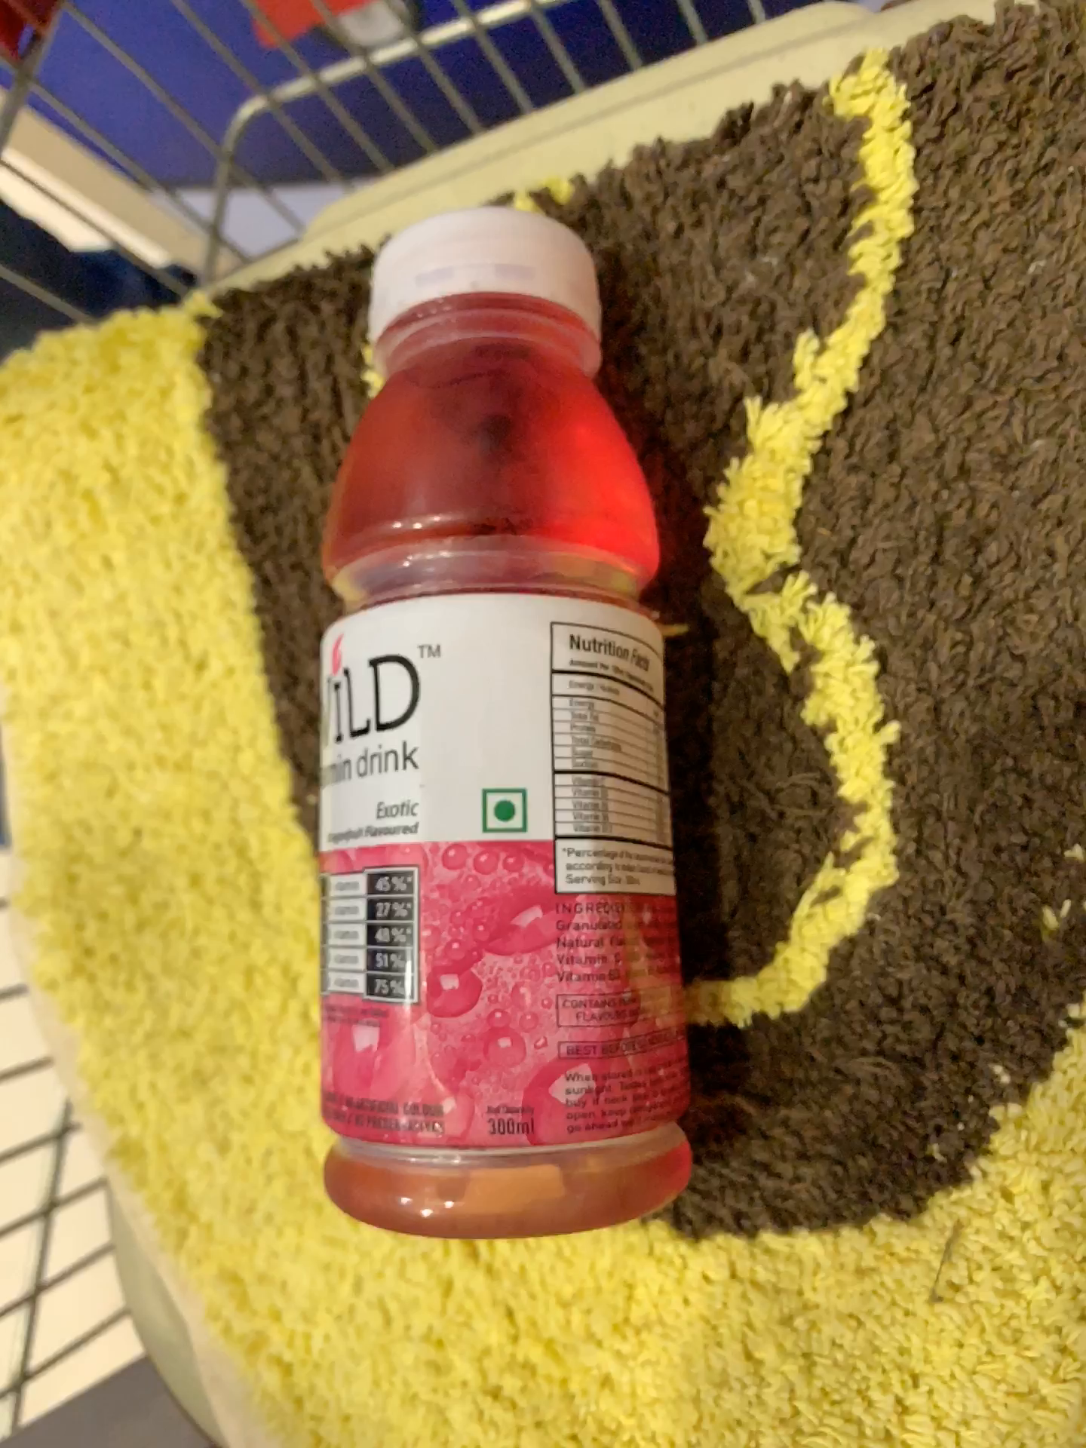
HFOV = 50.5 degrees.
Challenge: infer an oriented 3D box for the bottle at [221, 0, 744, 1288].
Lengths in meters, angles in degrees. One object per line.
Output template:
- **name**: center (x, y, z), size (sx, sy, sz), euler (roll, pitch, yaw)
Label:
- **bottle**: center (-0.010, -0.012, 0.184), size (0.060, 0.050, 0.170), euler (-13, 73, 49)
